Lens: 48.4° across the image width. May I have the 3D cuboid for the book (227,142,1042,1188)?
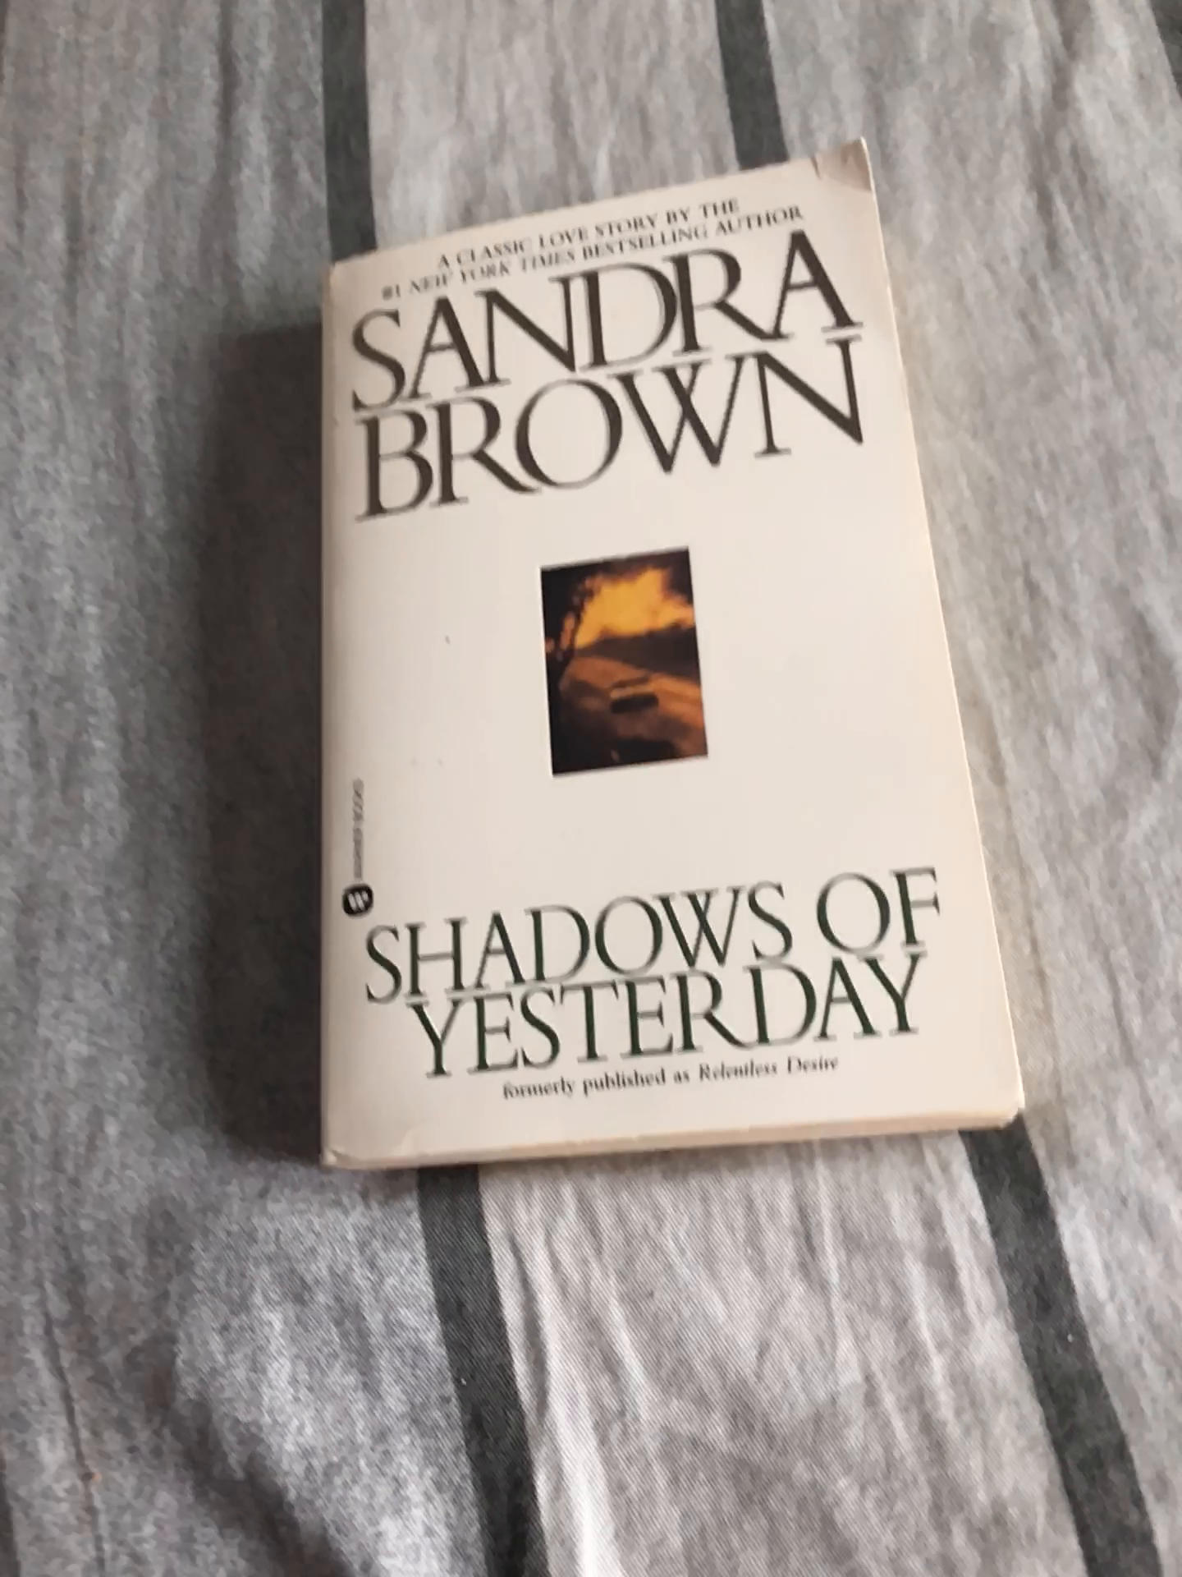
[{"bbox_3d":[0.002,-0.026,0.236,0.120,0.030,0.180,-5,71,5],"label":"book"}]
